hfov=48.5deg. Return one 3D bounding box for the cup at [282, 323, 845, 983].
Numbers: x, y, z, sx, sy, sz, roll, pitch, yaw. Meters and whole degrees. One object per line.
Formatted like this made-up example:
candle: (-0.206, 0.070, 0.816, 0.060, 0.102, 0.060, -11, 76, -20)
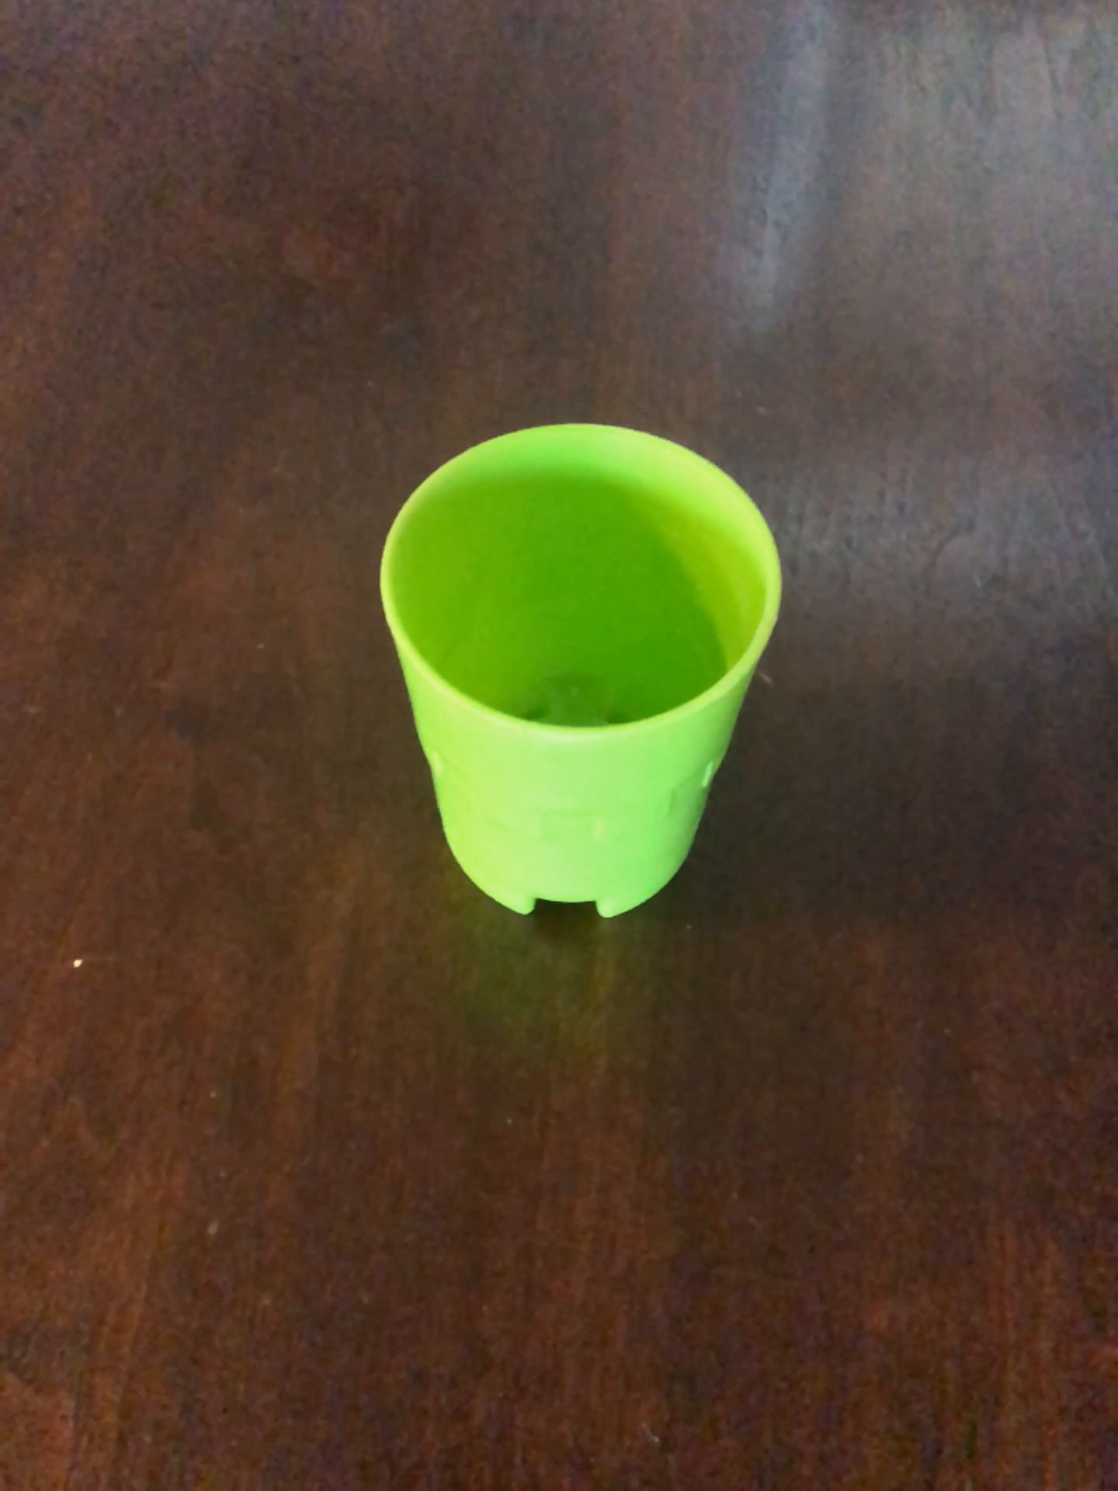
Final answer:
cup: (0.003, -0.014, 0.238, 0.070, 0.090, 0.070, 0, 59, -1)
